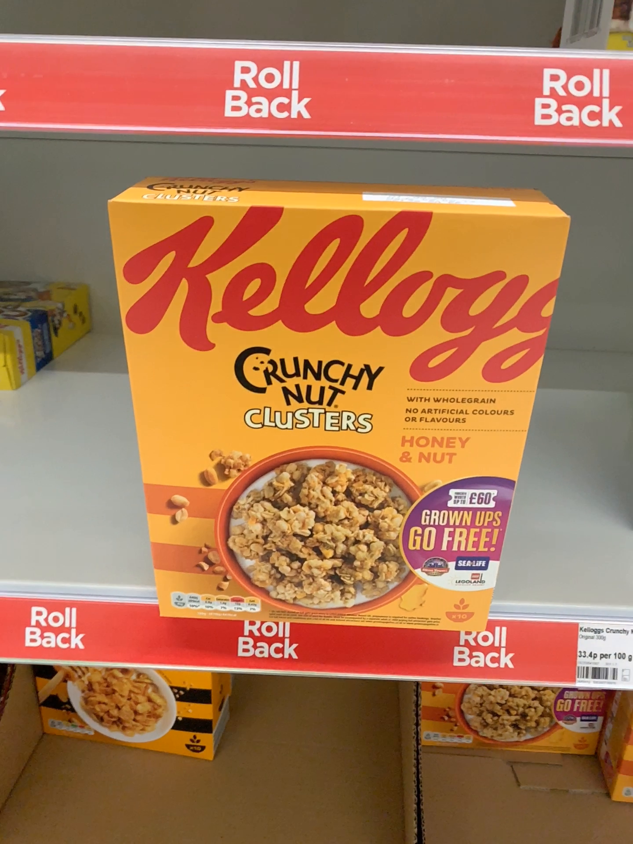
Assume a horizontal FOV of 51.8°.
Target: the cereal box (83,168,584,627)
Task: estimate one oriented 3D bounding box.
[{"bbox_3d":[0.004,-0.004,0.340,0.200,0.228,0.061,2,28,1],"label":"cereal box"}]
